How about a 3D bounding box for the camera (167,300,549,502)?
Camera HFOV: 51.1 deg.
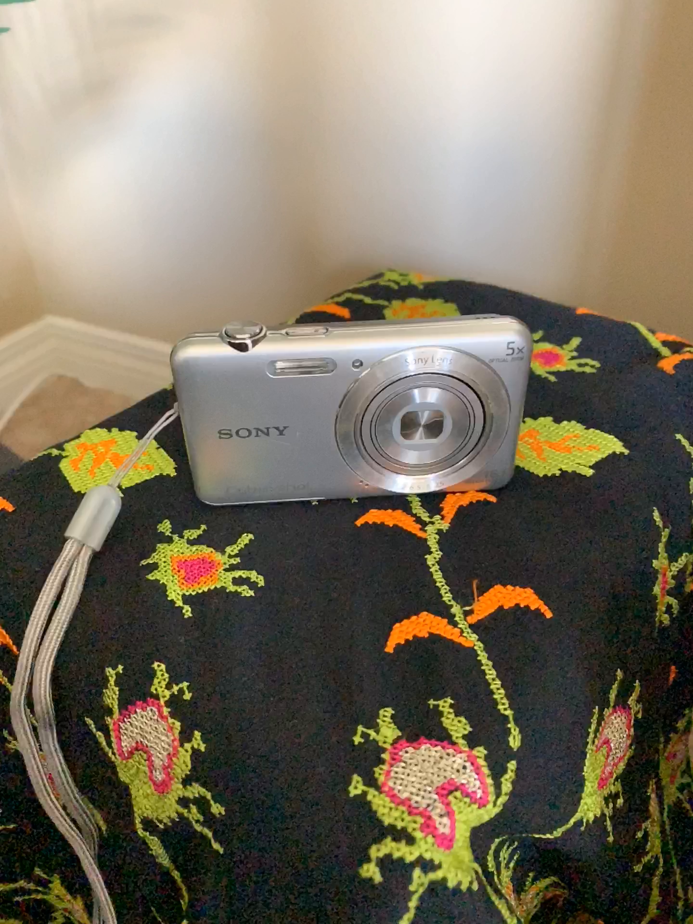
[{"bbox_3d":[0.003,-0.015,0.183,0.086,0.042,0.020,-3,35,-2],"label":"camera"}]
